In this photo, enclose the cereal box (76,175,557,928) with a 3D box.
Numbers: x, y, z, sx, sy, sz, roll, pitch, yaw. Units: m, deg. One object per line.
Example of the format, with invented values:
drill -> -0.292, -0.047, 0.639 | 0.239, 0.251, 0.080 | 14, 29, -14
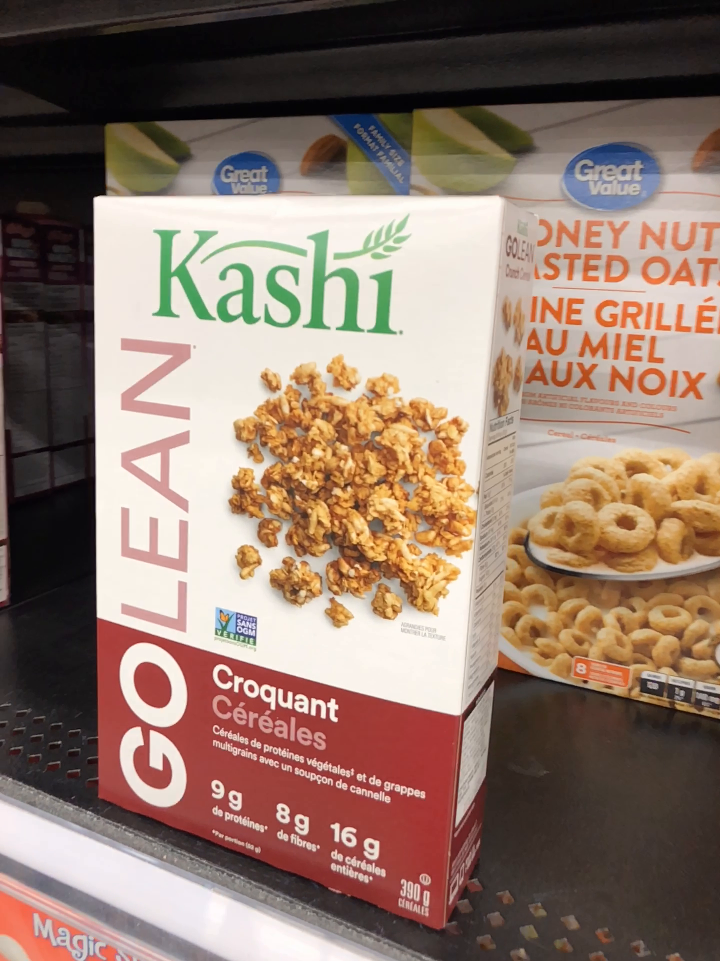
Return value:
cereal box -> -0.024, 0.020, 0.317 | 0.170, 0.259, 0.050 | 8, 15, 24
